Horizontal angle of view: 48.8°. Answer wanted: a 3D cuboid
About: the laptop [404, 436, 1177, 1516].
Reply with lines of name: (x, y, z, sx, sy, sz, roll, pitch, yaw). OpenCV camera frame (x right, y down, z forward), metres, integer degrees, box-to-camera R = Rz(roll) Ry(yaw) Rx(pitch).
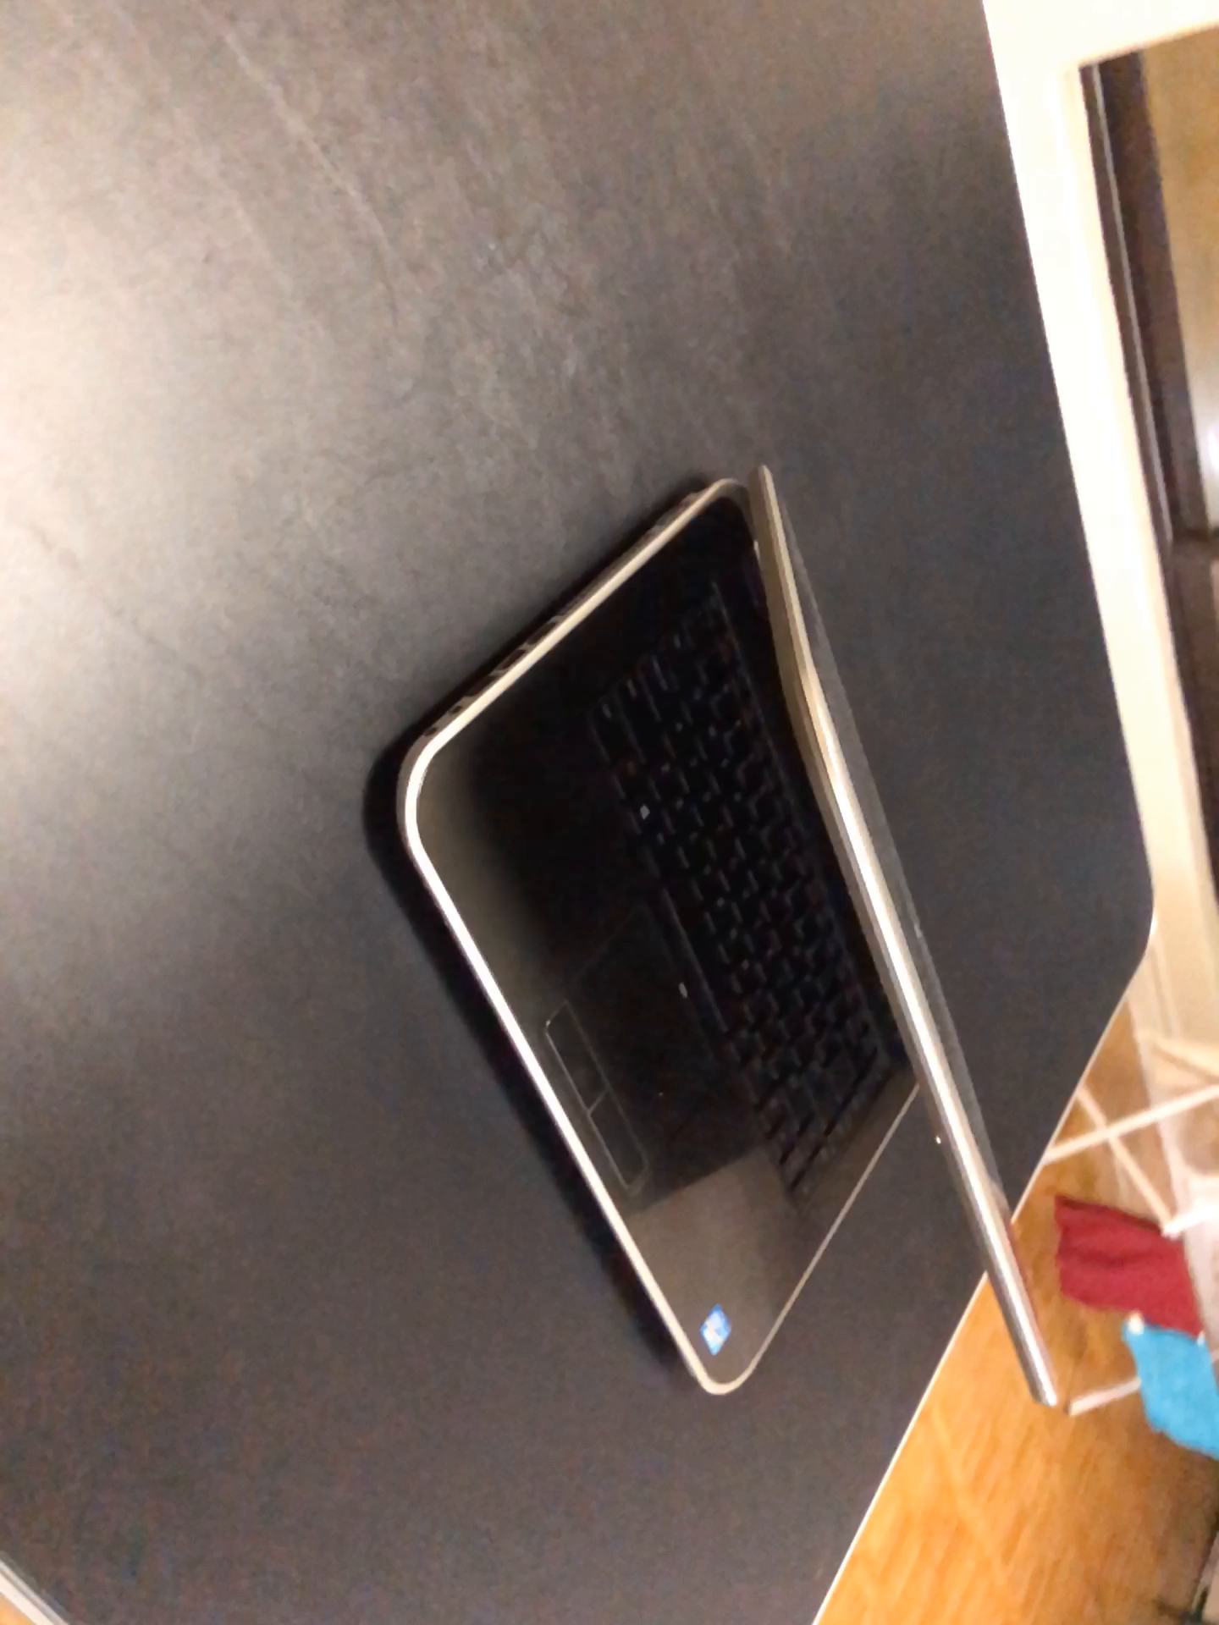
laptop: (0.110, 0.069, 0.573, 0.240, 0.137, 0.357, -49, 128, -35)
